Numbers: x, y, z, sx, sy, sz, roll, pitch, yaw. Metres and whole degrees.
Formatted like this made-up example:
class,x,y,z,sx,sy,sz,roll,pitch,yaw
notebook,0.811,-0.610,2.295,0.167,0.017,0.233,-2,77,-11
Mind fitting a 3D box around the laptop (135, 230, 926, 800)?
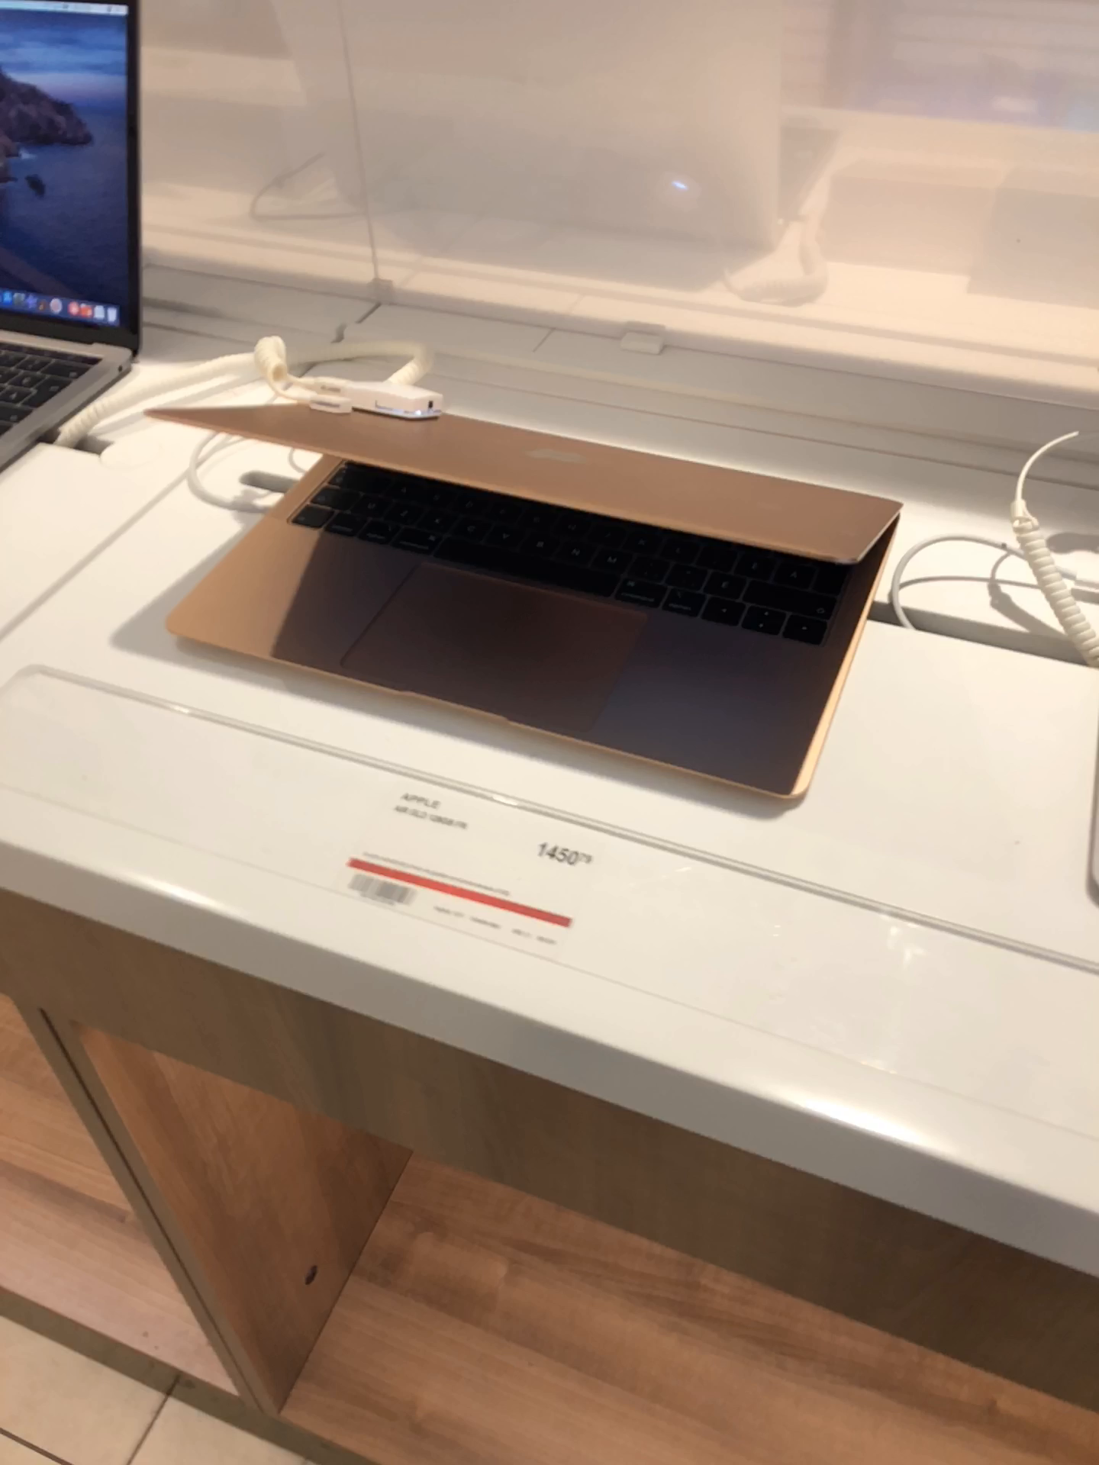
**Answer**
class,x,y,z,sx,sy,sz,roll,pitch,yaw
laptop,0.001,-0.125,0.556,0.298,0.104,0.225,15,45,20
